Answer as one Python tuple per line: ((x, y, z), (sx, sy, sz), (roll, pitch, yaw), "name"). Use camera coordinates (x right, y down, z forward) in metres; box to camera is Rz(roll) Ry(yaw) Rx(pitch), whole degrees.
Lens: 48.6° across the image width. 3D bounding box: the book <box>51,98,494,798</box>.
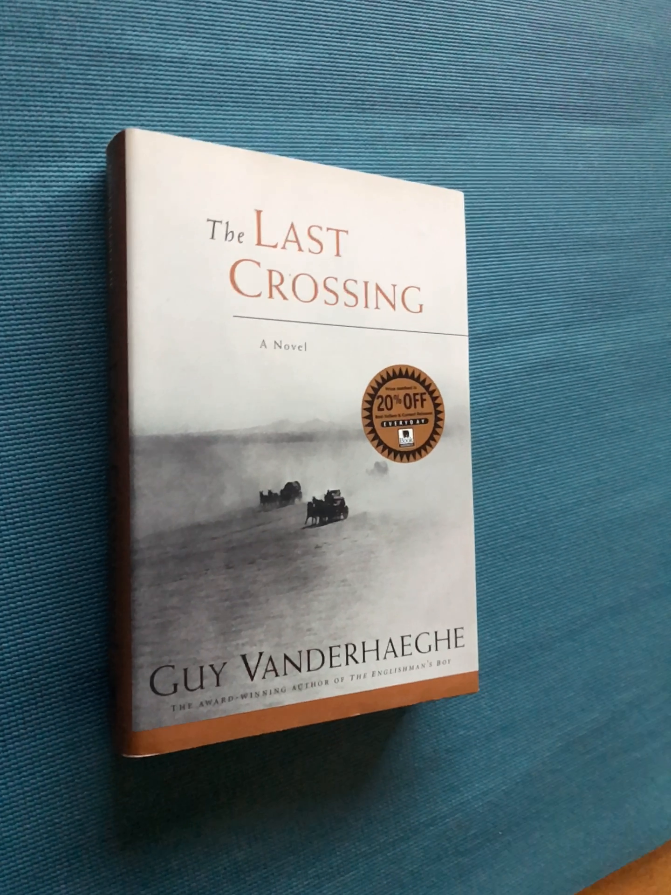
((-0.020, -0.002, 0.302), (0.171, 0.040, 0.230), (-1, 86, -29), "book")
